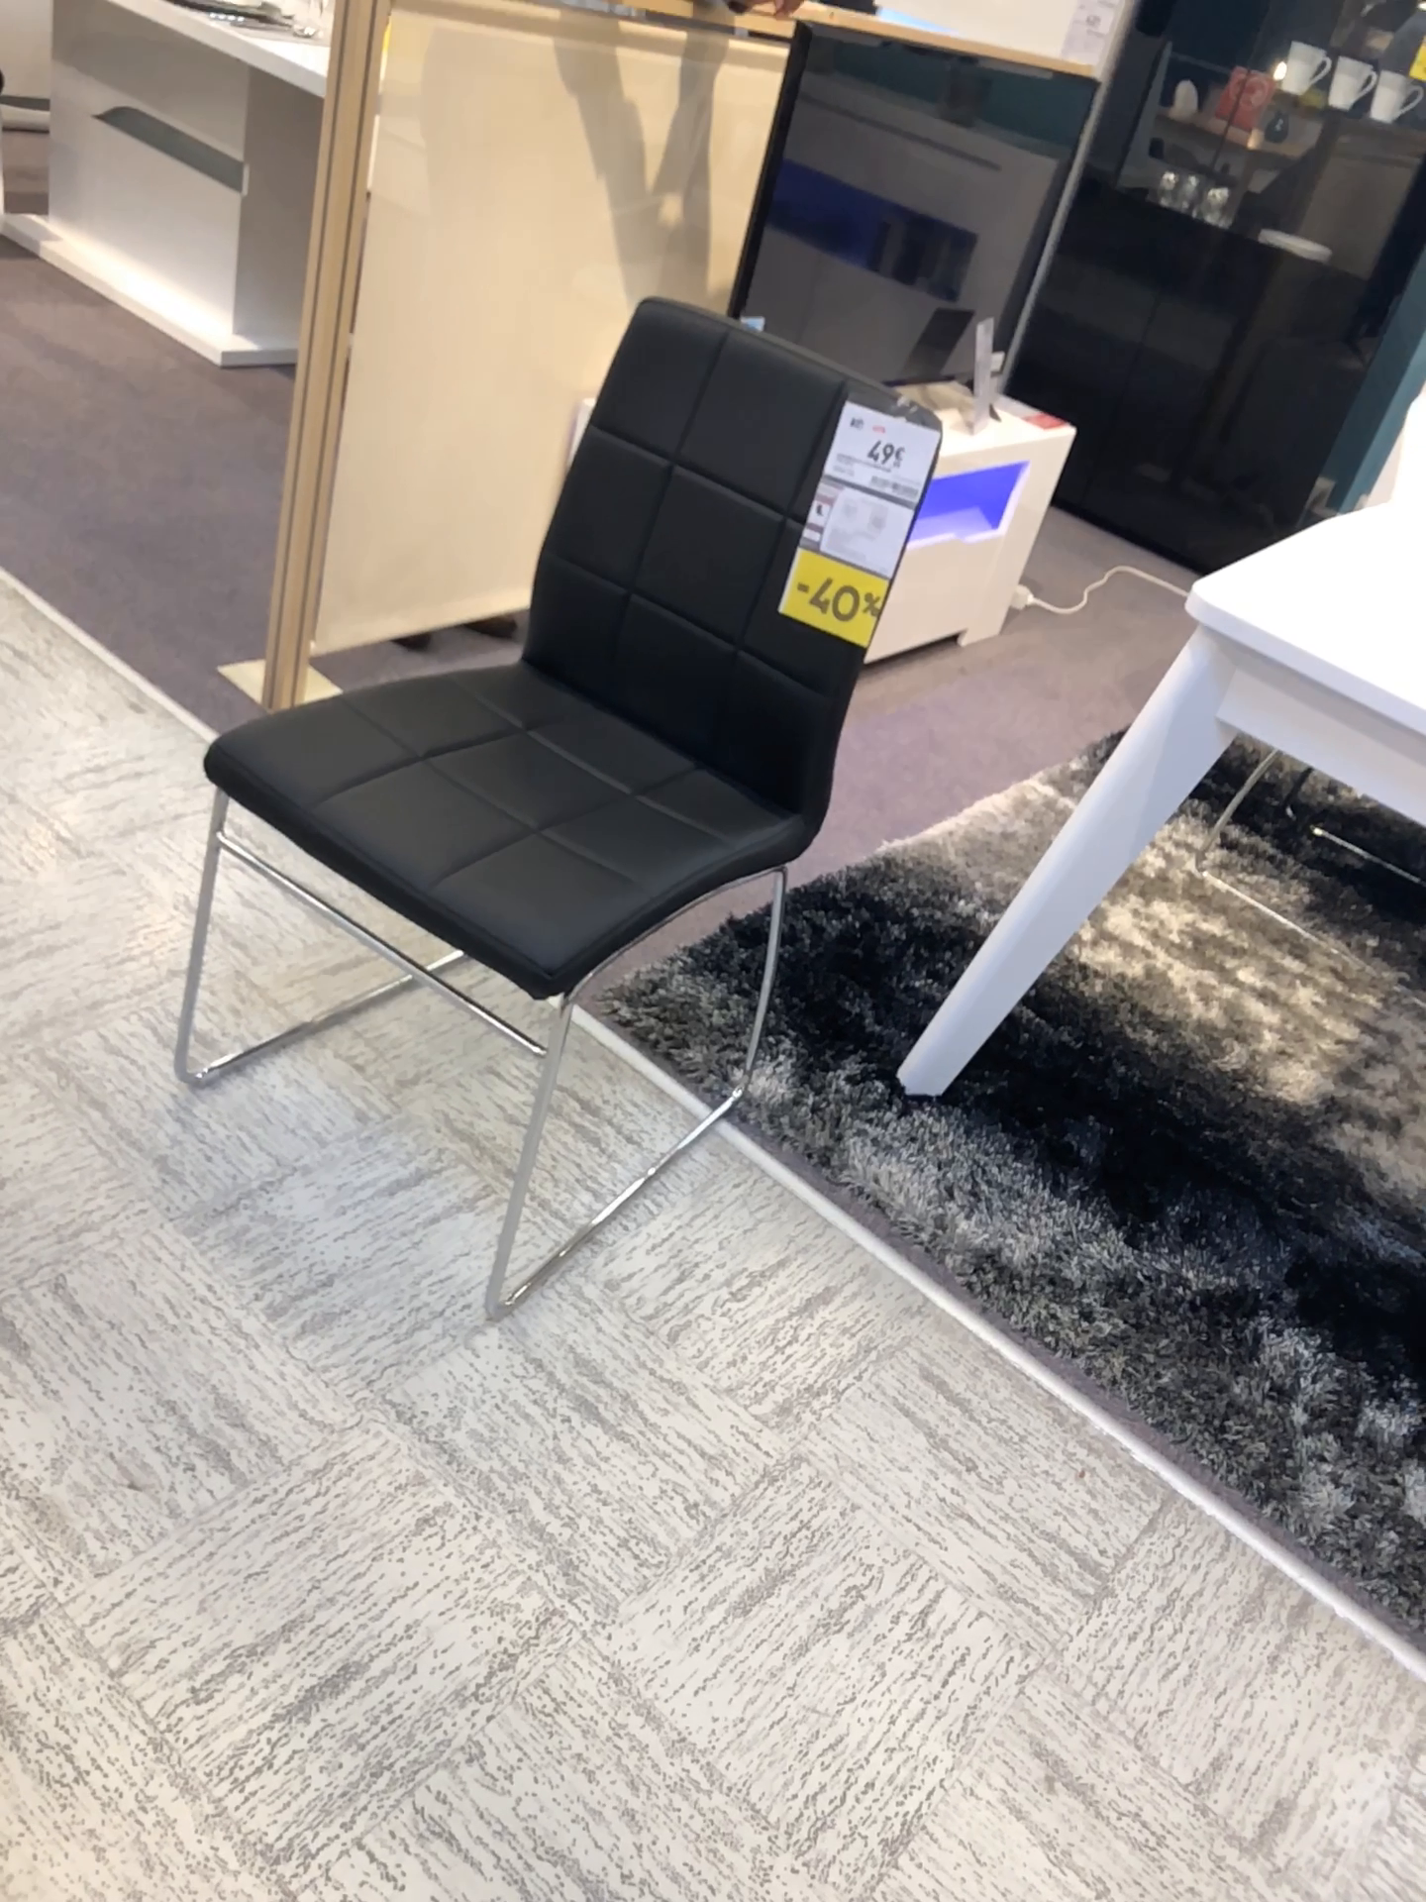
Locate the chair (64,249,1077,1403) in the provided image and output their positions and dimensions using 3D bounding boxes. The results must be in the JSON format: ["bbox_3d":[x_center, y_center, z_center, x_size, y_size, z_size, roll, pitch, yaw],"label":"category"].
[{"bbox_3d":[-0.168,-0.163,1.504,0.550,0.795,0.634,34,36,25],"label":"chair"}]
